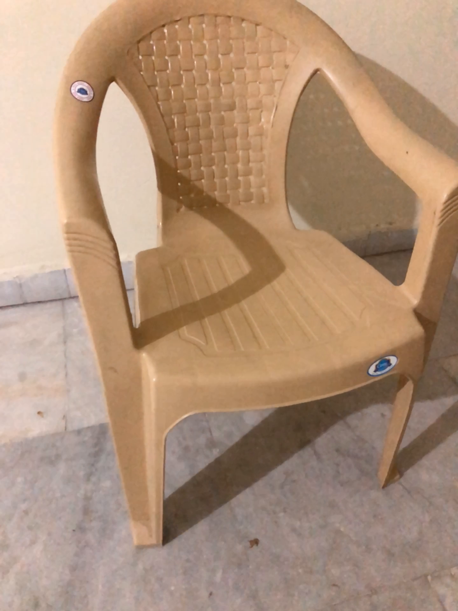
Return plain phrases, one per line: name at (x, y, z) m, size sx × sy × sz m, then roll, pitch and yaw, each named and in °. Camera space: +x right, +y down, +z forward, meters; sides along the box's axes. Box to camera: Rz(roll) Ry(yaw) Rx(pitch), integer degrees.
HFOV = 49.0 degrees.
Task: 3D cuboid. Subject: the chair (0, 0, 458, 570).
chair at (0.014, -0.102, 0.859) m, size 0.591 × 0.745 × 0.603 m, roll -10°, pitch 41°, yaw -14°
